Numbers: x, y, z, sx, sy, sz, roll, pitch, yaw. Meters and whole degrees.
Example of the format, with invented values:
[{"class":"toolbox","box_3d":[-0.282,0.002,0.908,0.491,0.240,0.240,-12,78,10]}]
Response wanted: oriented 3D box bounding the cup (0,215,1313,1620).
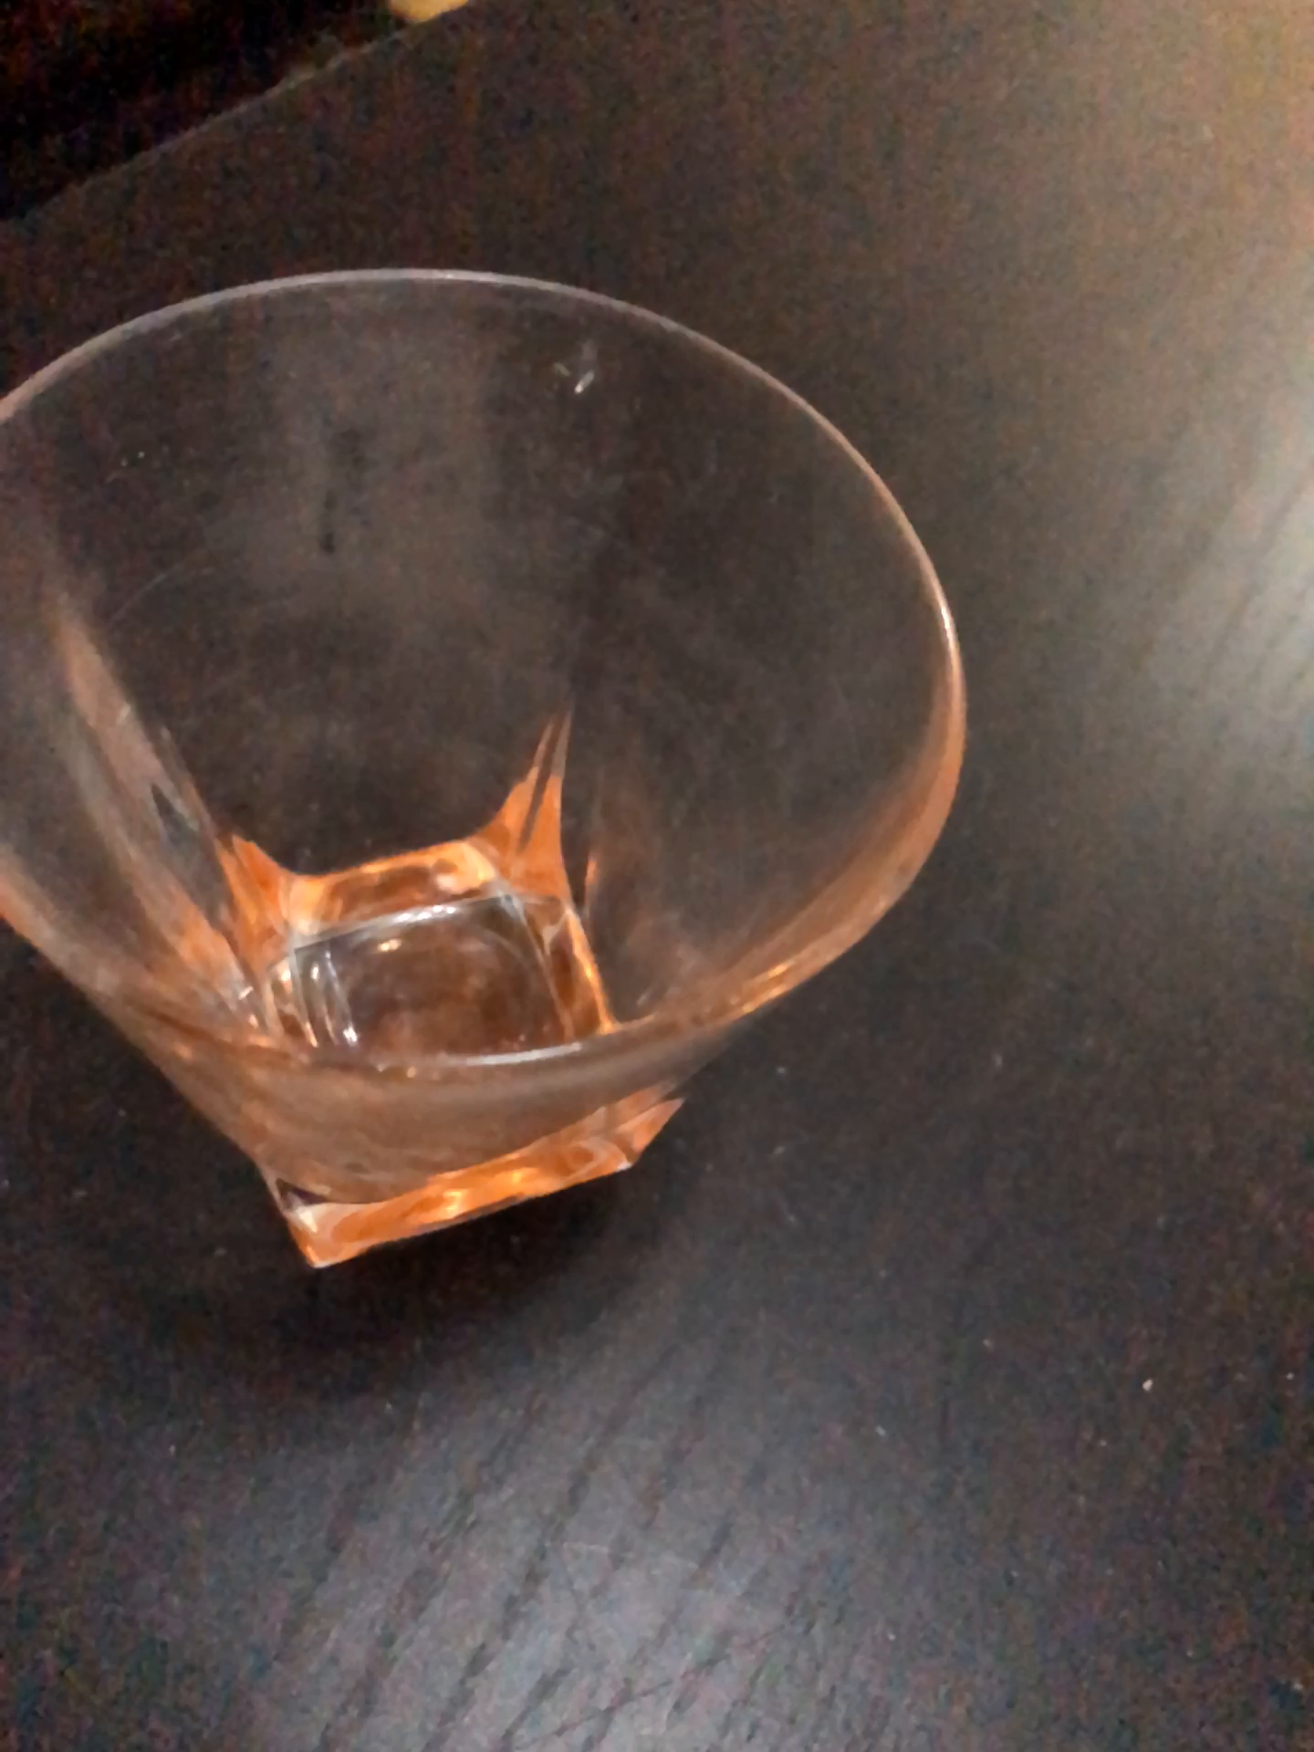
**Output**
[{"class":"cup","box_3d":[-0.021,0.004,0.170,0.110,0.099,0.110,5,56,-8]}]
